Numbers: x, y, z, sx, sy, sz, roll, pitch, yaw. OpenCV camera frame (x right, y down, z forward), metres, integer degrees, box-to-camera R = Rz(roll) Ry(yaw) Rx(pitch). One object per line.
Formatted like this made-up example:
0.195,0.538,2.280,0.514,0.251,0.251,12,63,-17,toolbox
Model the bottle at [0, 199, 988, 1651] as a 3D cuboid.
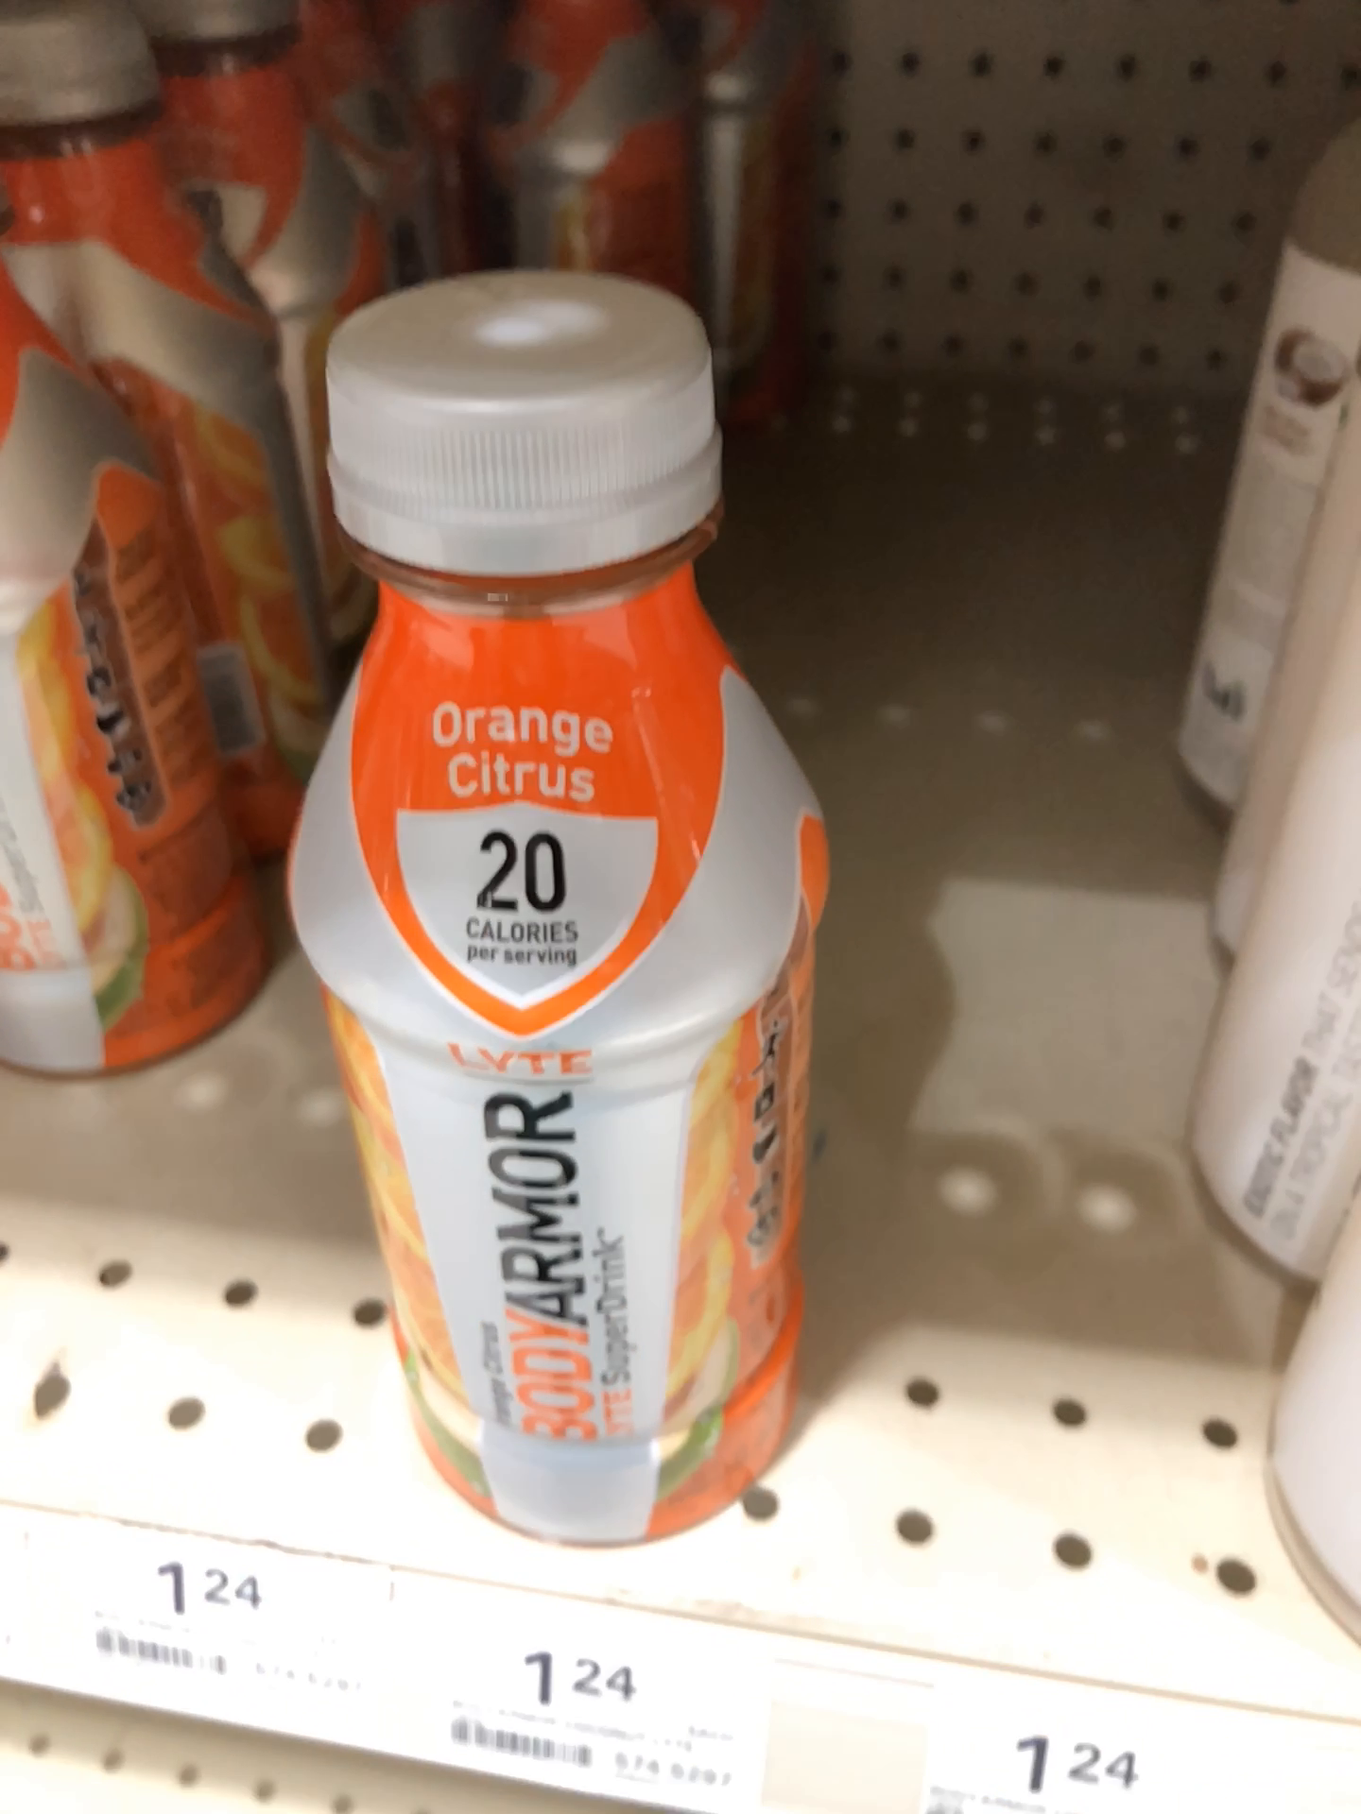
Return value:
-0.010,0.014,0.206,0.080,0.180,0.080,-1,41,1,bottle
